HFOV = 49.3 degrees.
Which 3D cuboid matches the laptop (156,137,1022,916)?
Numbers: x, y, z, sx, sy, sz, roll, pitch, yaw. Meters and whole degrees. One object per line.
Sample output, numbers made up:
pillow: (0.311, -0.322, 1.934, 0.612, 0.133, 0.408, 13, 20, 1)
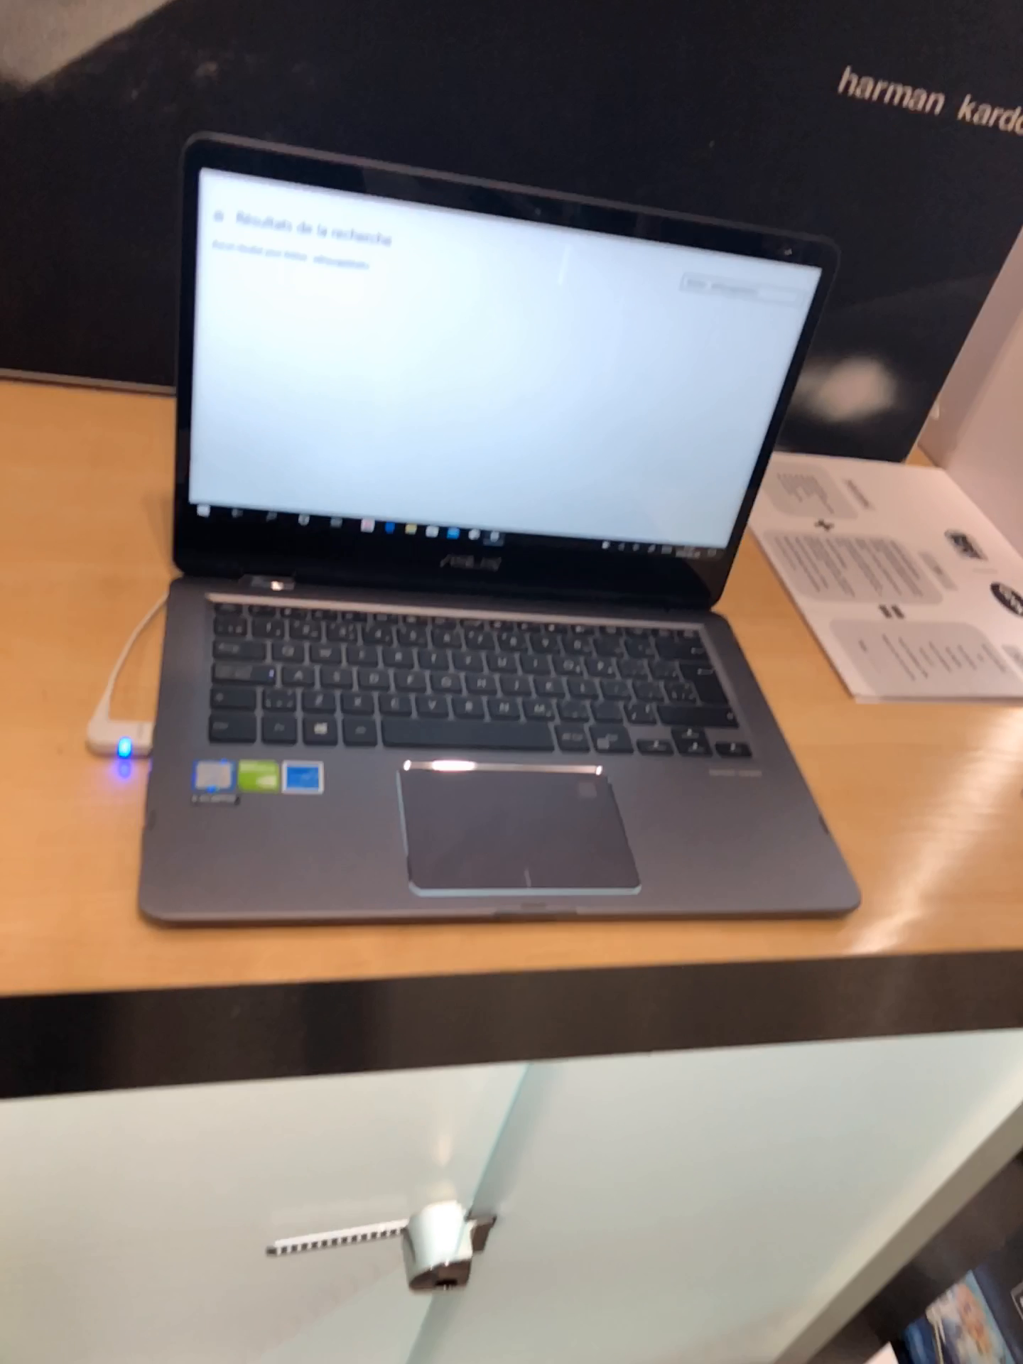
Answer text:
laptop: (0.016, -0.063, 0.505, 0.320, 0.224, 0.240, 3, 41, -16)
